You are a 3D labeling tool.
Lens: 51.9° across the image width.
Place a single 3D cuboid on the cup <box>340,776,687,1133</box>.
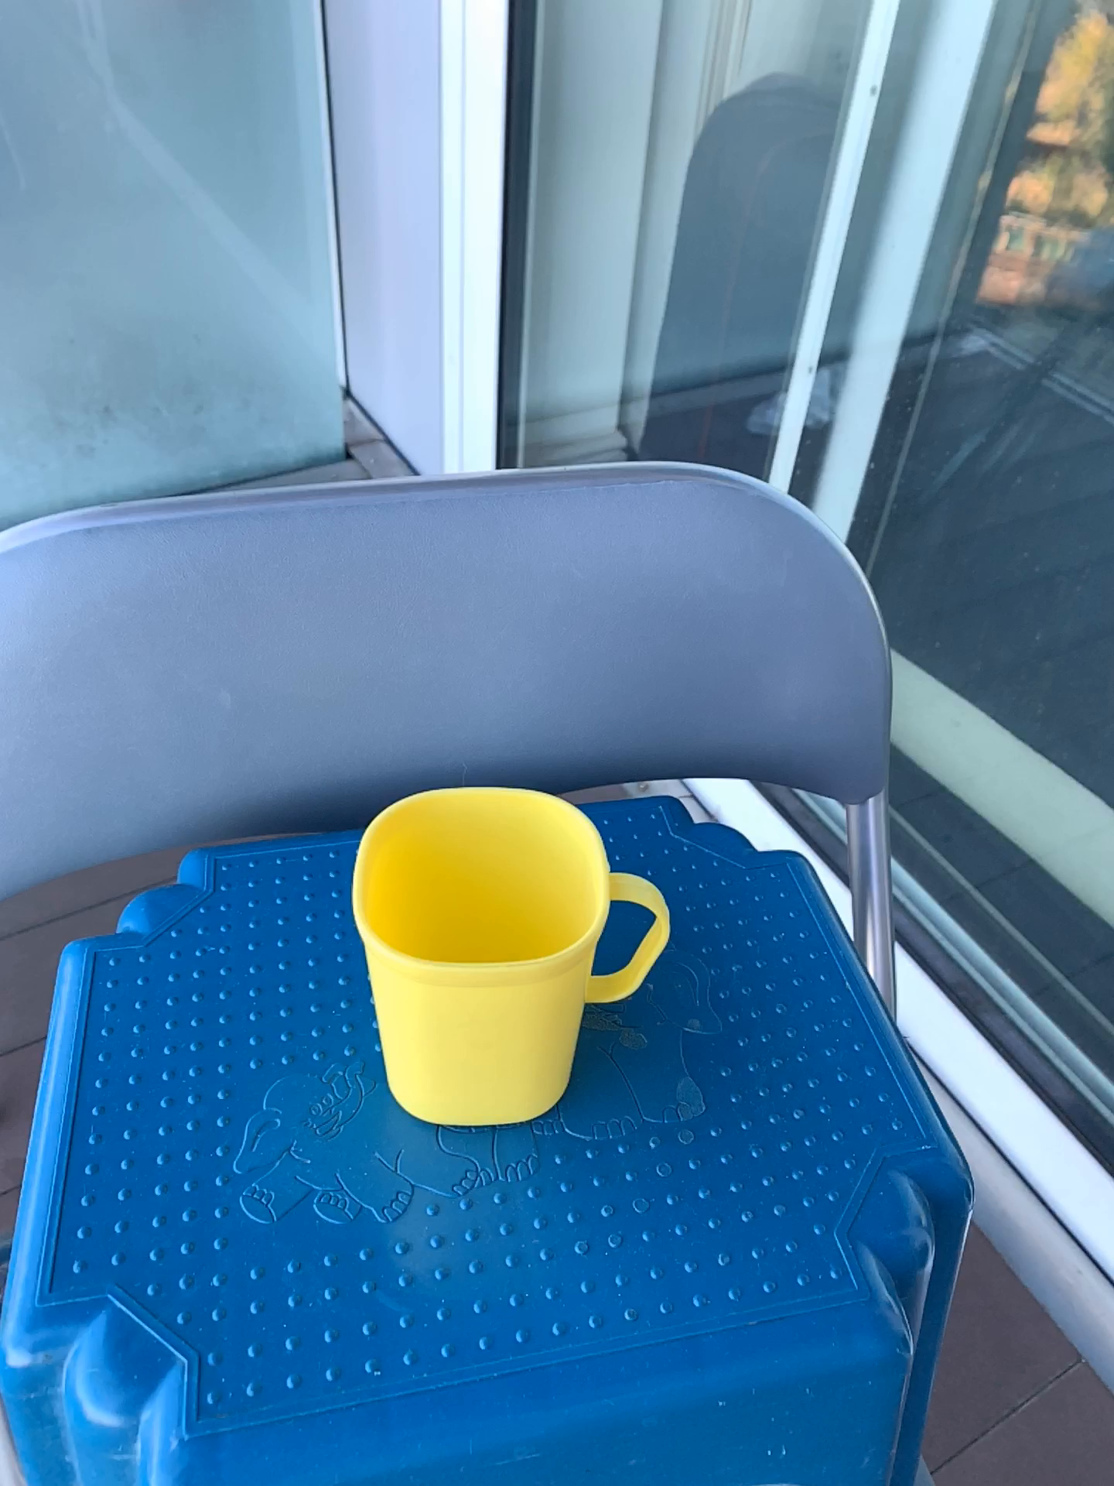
[{"bbox_3d":[-0.014,0.063,0.344,0.089,0.077,0.068,-2,39,-4],"label":"cup"}]
